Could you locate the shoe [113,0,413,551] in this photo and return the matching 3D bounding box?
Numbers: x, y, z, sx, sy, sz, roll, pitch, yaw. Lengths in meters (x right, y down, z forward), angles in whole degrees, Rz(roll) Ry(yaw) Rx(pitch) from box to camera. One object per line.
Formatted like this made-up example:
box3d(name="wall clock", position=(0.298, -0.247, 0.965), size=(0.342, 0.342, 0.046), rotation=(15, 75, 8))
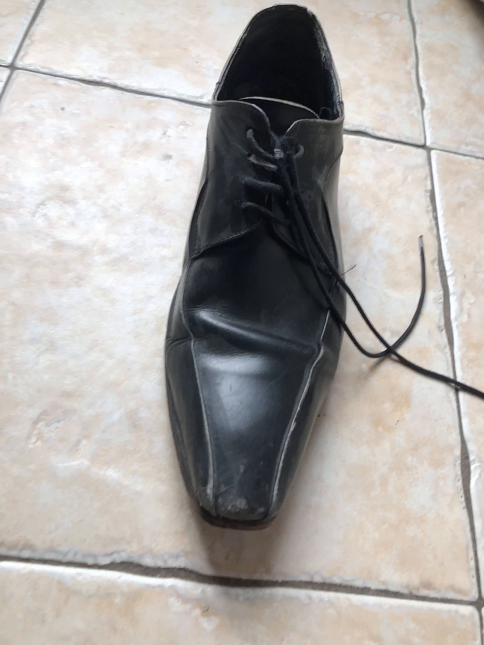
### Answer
box3d(name="shoe", position=(0.021, -0.046, 0.284), size=(0.100, 0.090, 0.291), rotation=(10, 61, -3))
